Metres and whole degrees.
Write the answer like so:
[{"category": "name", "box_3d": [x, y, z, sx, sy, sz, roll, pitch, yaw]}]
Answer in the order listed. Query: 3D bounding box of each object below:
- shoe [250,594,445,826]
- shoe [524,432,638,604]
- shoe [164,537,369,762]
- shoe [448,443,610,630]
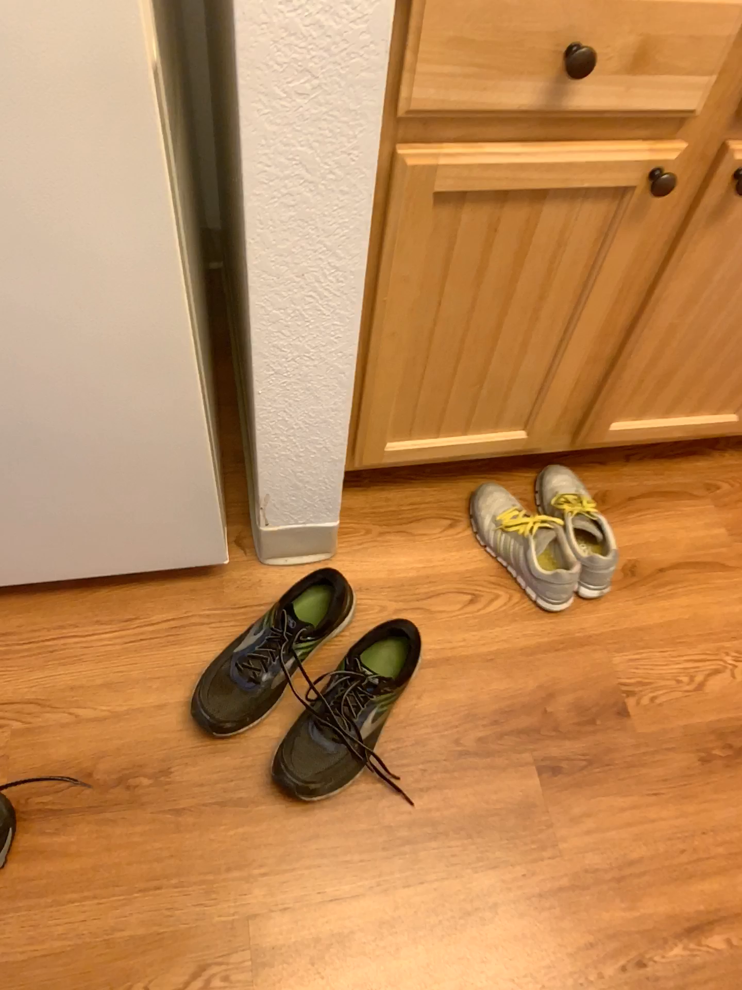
[{"category": "shoe", "box_3d": [-0.031, 0.294, 1.057, 0.110, 0.139, 0.271, 35, 59, 17]}, {"category": "shoe", "box_3d": [0.357, 0.036, 1.328, 0.100, 0.110, 0.271, -7, 57, -4]}, {"category": "shoe", "box_3d": [-0.138, 0.212, 1.067, 0.100, 0.139, 0.281, 37, 60, 18]}, {"category": "shoe", "box_3d": [0.246, 0.064, 1.239, 0.100, 0.110, 0.271, -27, 62, -15]}]
